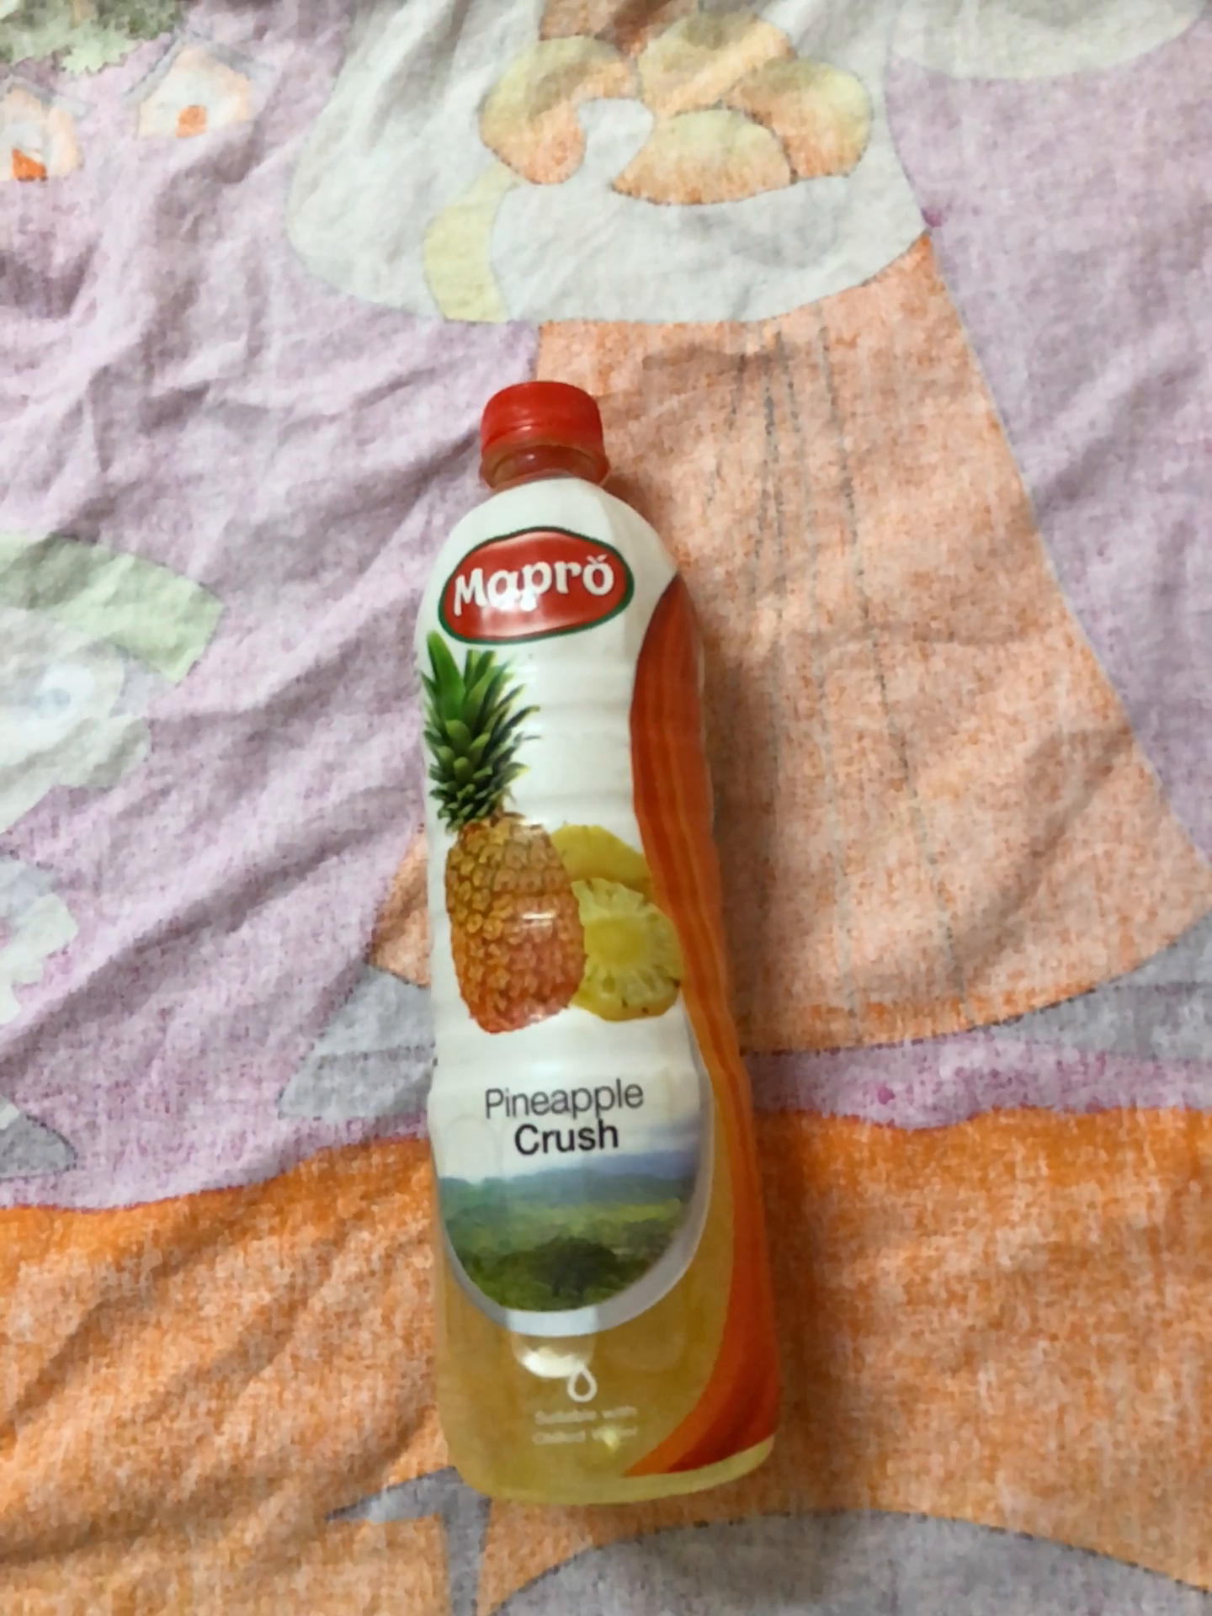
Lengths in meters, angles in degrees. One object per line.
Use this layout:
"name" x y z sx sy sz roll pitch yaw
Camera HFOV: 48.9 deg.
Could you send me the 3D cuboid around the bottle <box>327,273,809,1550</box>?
"bottle" -0.009 0.017 0.296 0.080 0.060 0.250 -6 79 7
